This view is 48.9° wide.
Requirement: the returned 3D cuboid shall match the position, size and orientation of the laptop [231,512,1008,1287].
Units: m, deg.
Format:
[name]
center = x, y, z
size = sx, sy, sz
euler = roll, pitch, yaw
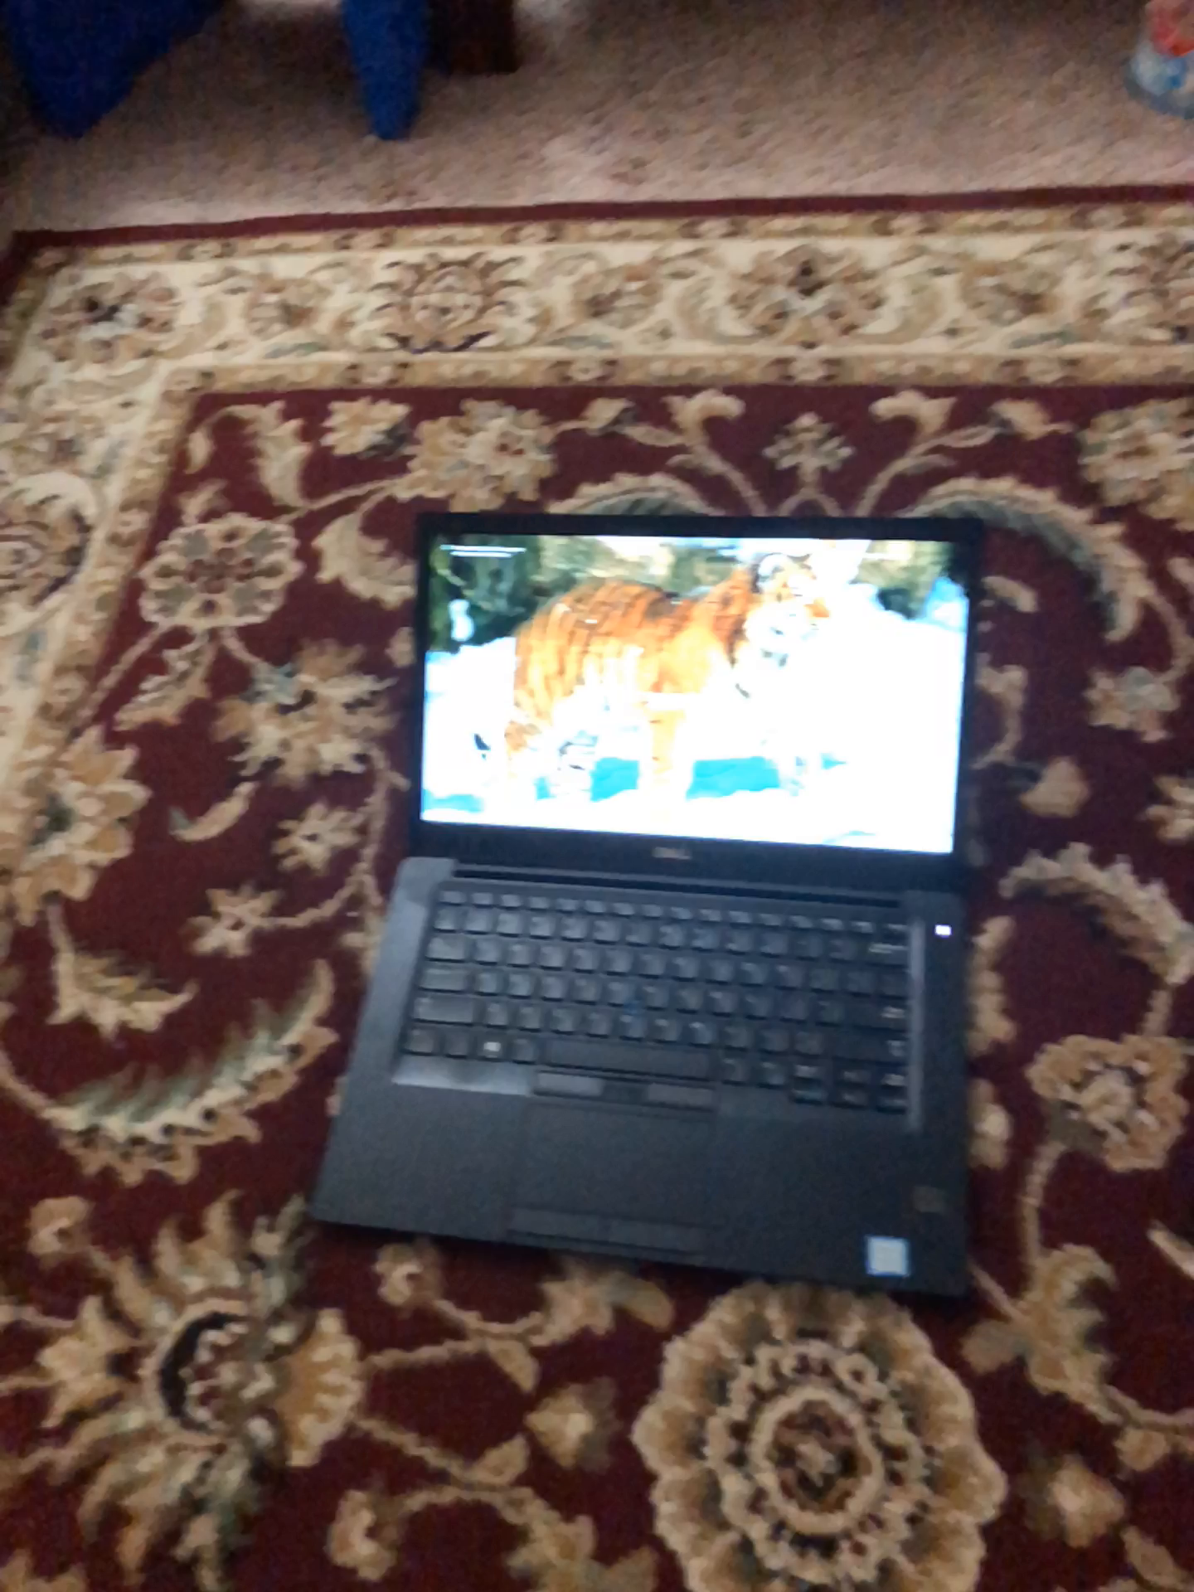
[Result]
[laptop]
center = 0.035, 0.031, 0.700
size = 0.328, 0.124, 0.383
euler = 3, 57, 11
